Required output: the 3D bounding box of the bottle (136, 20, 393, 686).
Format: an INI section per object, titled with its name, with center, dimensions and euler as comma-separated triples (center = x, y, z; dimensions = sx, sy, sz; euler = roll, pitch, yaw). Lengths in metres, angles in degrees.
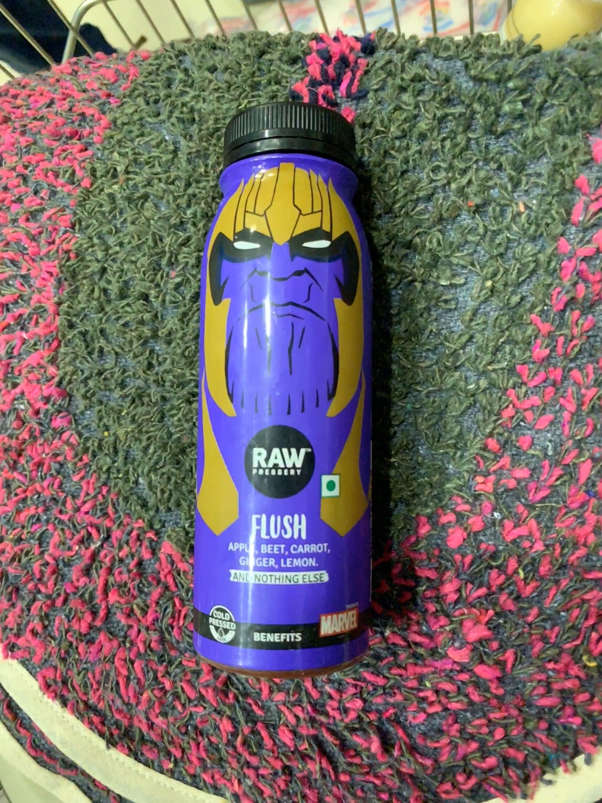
[bottle]
center = -0.005, -0.015, 0.187
dimensions = 0.060, 0.050, 0.170
euler = 1, 84, 9
